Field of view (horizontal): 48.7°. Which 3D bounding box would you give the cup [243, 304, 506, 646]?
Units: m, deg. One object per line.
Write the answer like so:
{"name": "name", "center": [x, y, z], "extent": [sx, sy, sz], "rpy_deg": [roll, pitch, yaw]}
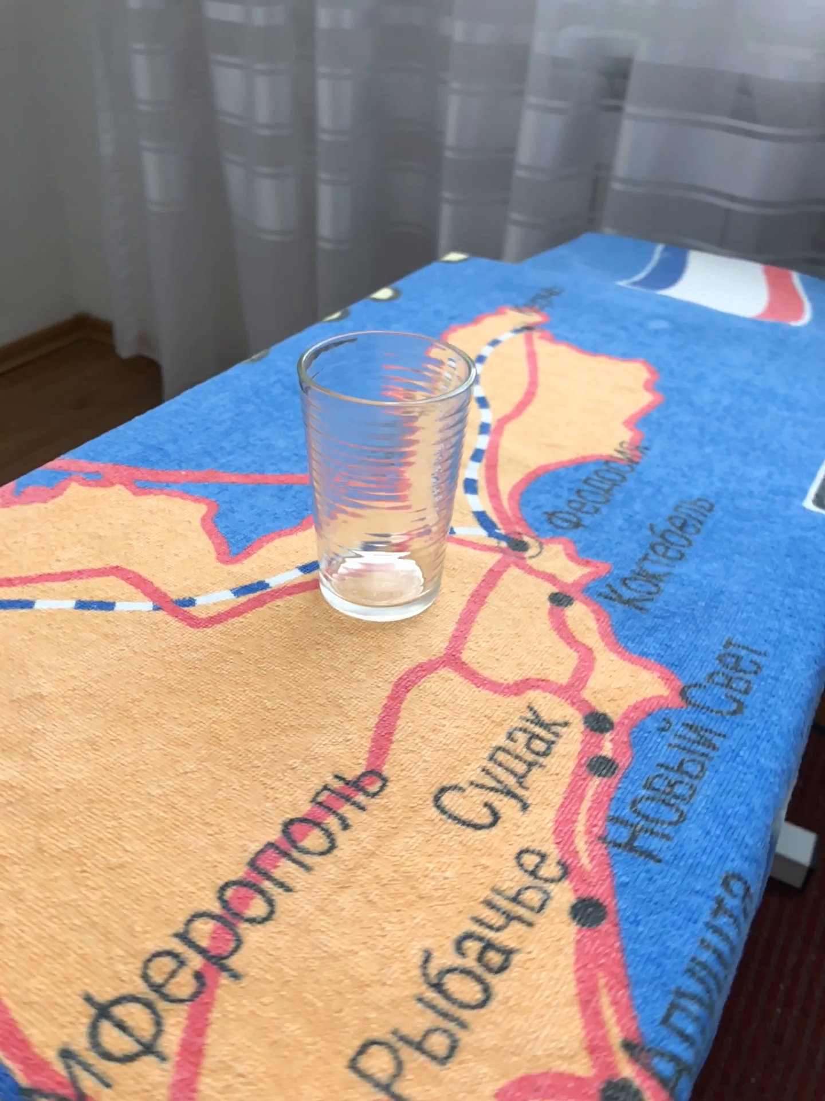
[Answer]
{"name": "cup", "center": [-0.014, -0.032, 0.362], "extent": [0.070, 0.099, 0.068], "rpy_deg": [1, 36, -1]}
